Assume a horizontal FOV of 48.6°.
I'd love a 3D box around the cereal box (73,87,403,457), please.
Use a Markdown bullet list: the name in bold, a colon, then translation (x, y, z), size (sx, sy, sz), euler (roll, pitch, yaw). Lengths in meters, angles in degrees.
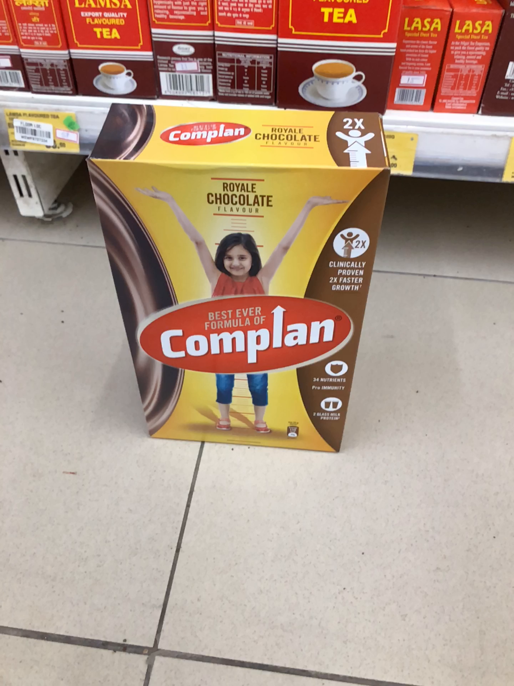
- **cereal box**: translation (-0.008, -0.029, 0.387), size (0.160, 0.248, 0.070), euler (4, 45, 4)
